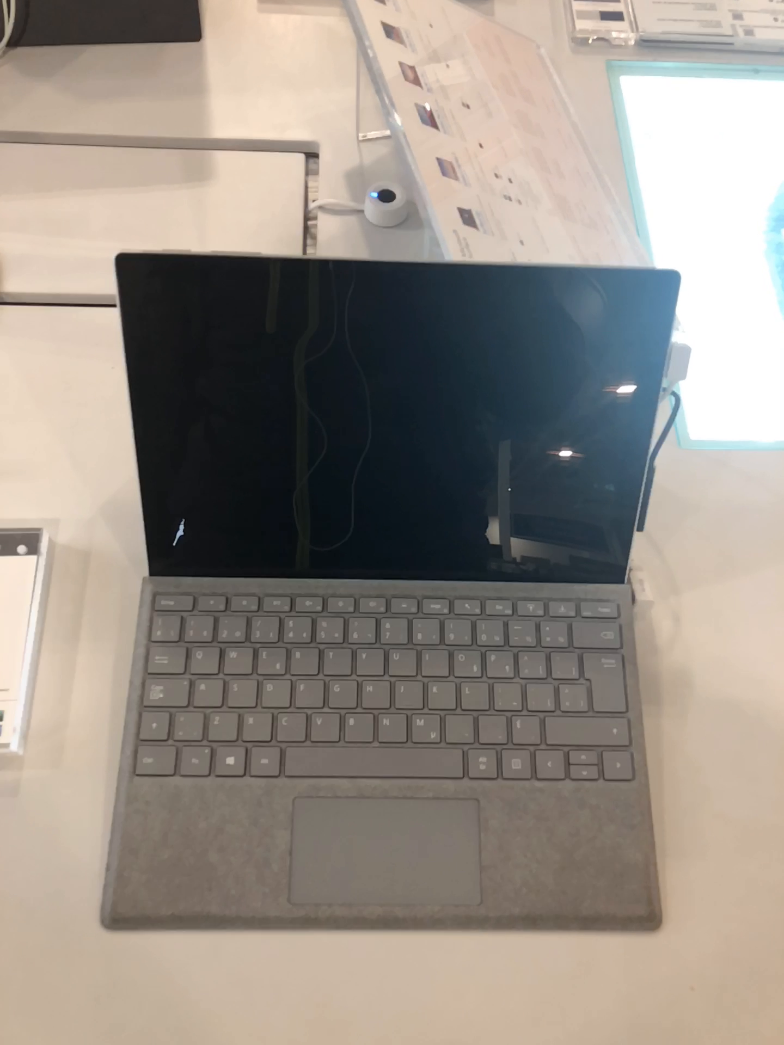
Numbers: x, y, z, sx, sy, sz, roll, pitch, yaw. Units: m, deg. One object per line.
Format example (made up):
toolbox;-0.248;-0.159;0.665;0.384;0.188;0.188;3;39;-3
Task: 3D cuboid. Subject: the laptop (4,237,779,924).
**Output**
laptop;0.001;0.034;0.431;0.278;0.148;0.297;1;67;-2
